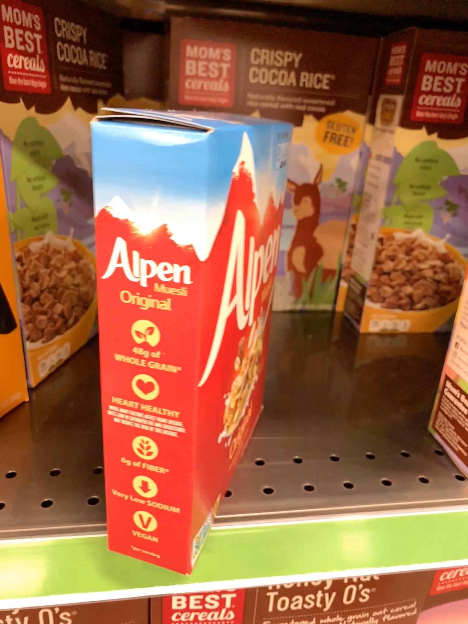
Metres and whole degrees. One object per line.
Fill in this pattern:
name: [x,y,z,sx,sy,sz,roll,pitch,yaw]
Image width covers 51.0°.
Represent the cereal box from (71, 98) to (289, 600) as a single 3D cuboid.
cereal box: [-0.016,0.004,0.262,0.040,0.209,0.161,10,23,14]
